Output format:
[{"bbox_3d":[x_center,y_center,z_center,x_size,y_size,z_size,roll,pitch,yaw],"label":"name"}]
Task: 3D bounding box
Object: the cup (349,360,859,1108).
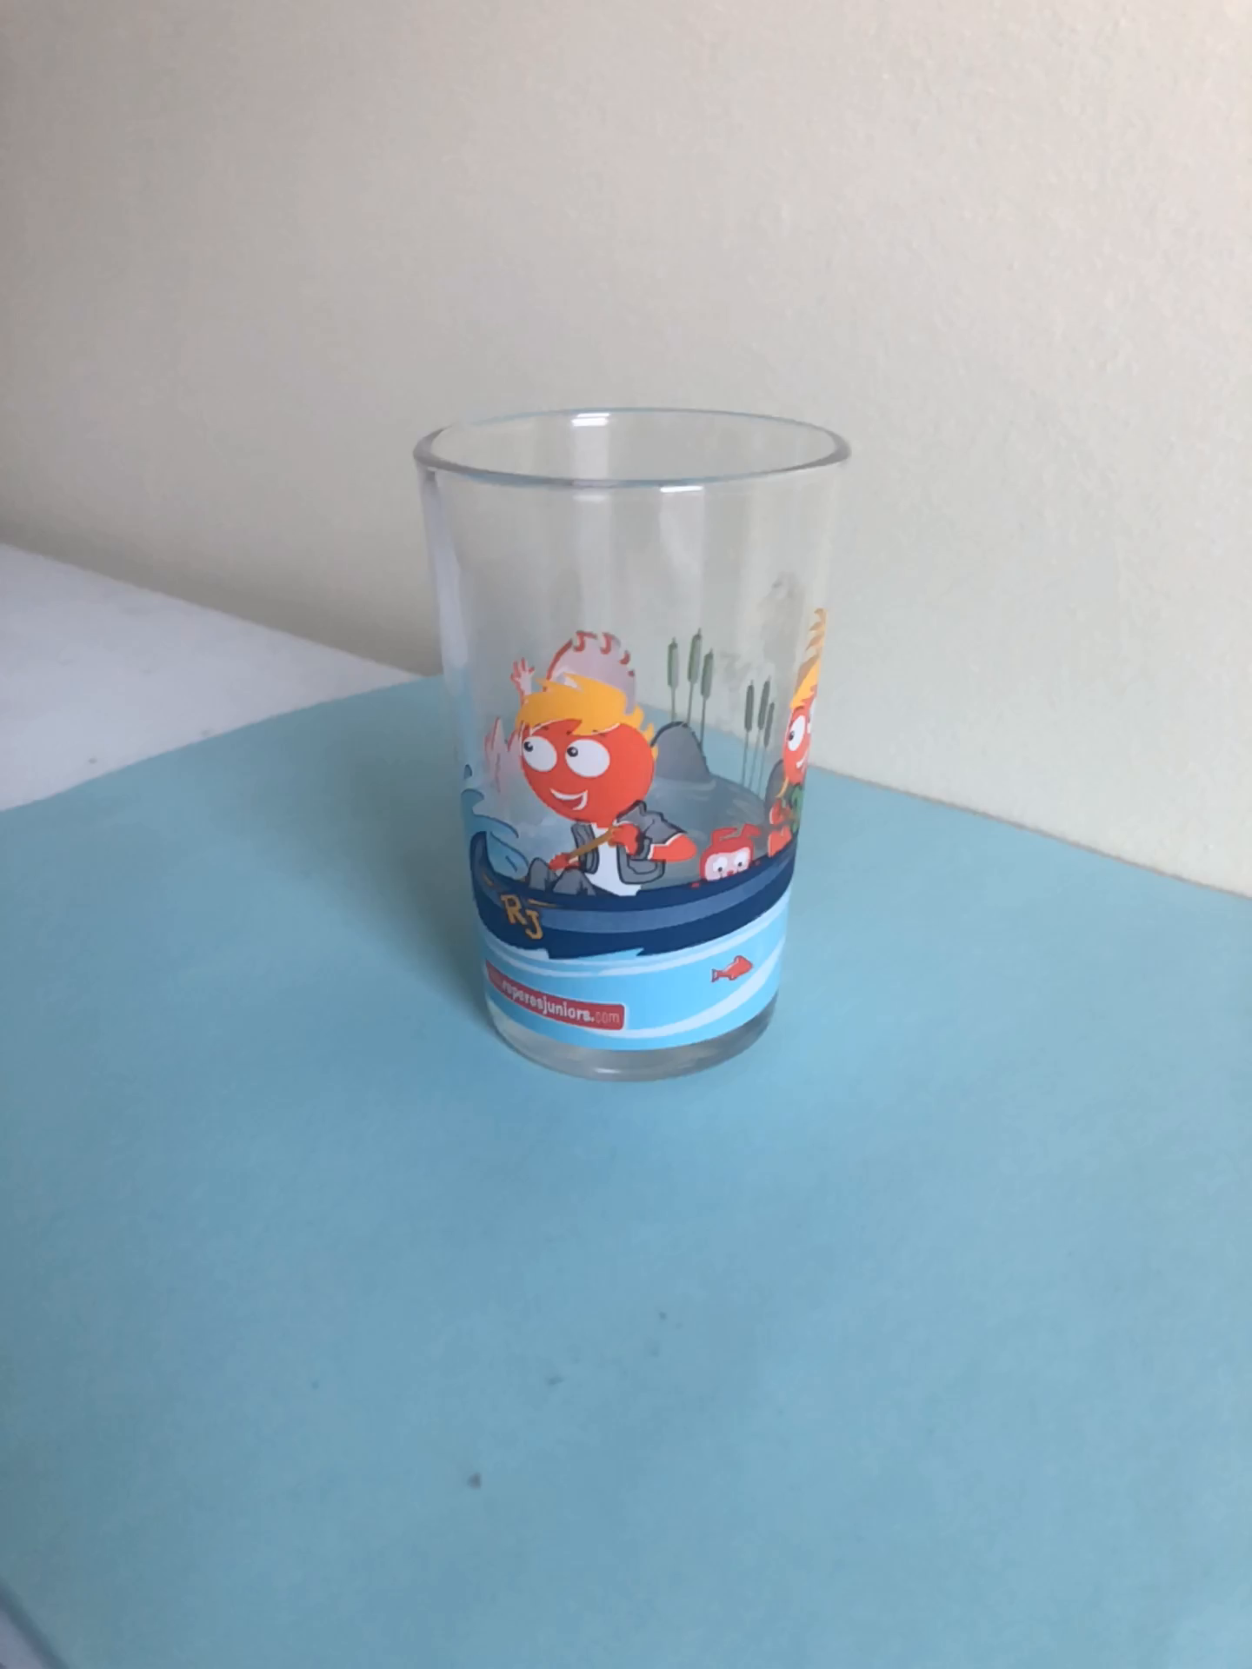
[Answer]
[{"bbox_3d":[0.001,-0.020,0.223,0.060,0.099,0.060,0,25,0],"label":"cup"}]
